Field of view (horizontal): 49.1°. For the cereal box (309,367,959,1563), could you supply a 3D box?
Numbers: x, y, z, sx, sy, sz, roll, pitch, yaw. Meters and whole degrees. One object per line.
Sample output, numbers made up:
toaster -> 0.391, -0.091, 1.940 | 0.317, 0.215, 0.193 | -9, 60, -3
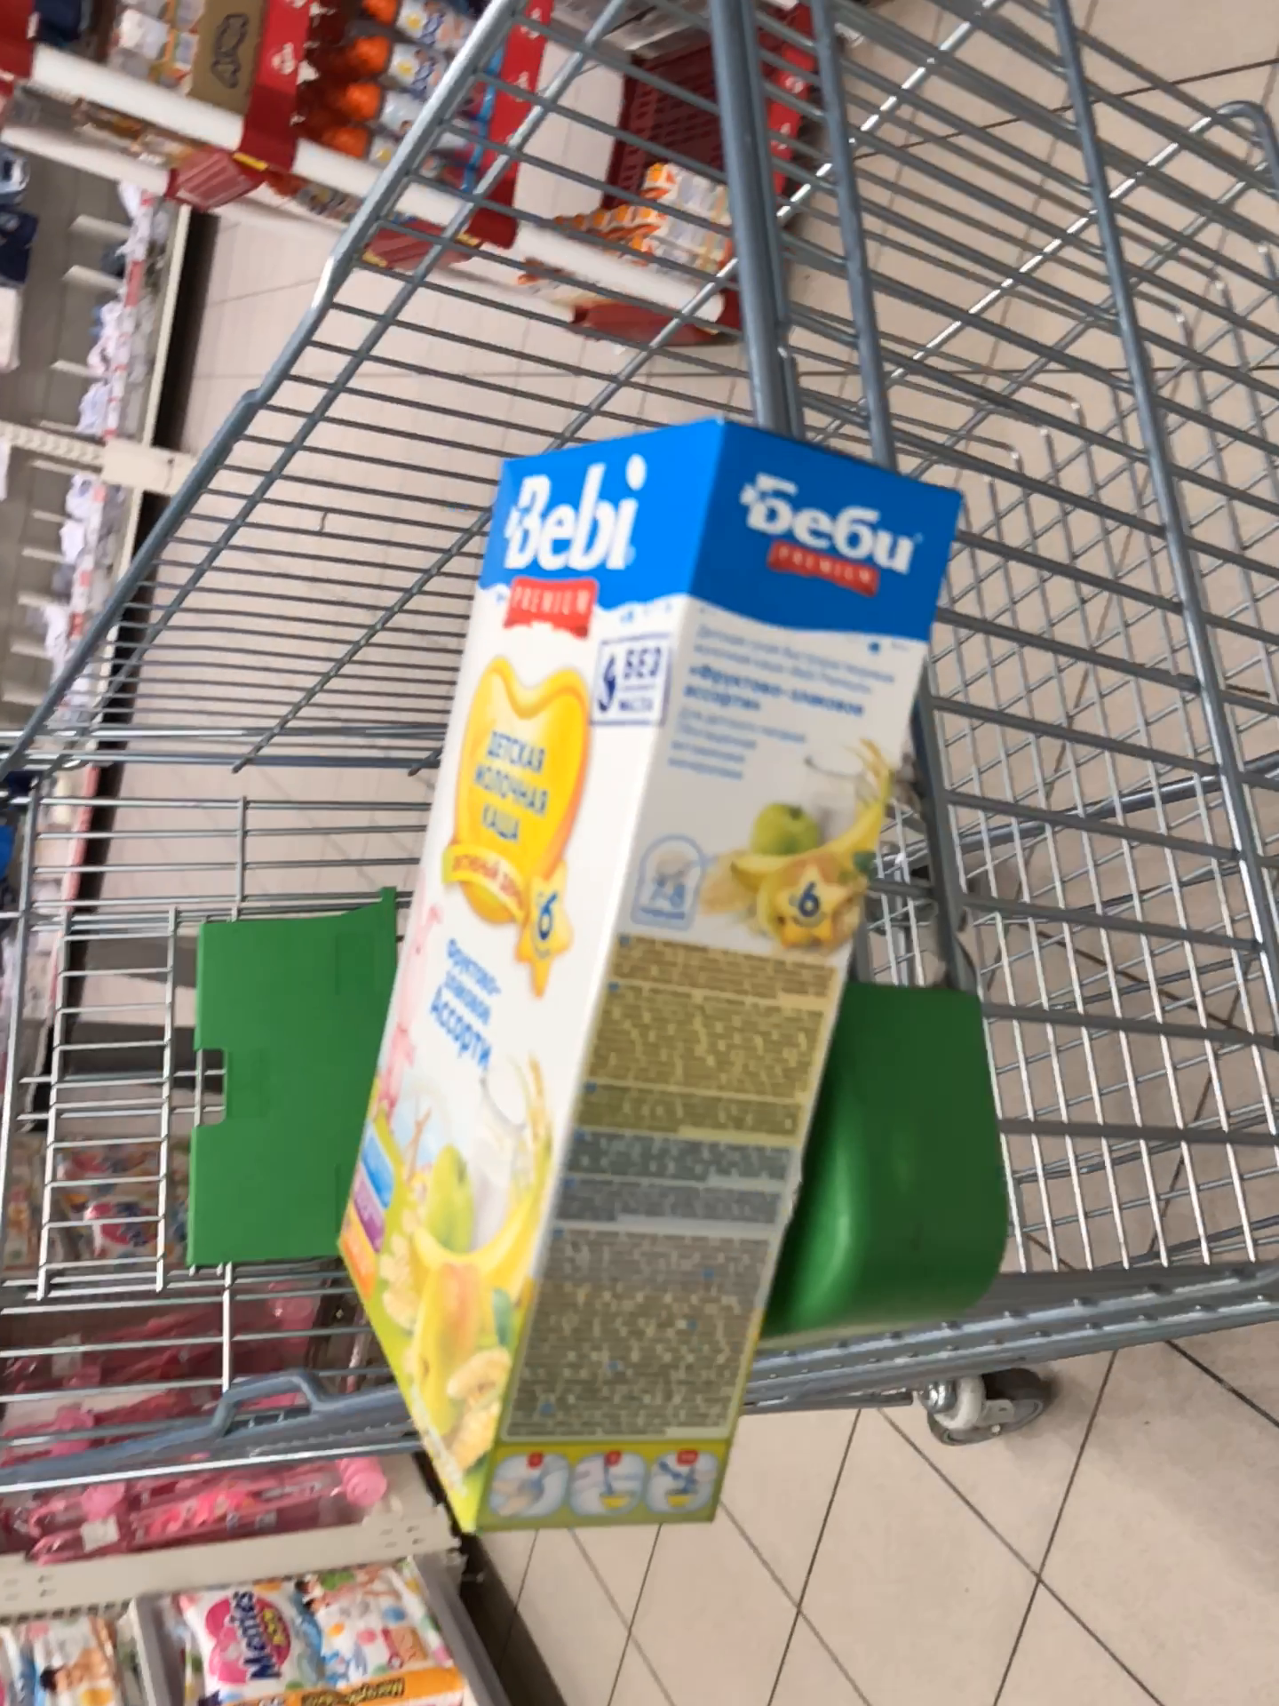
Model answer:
cereal box -> -0.018, 0.014, 0.315 | 0.151, 0.050, 0.210 | -154, 75, -66
